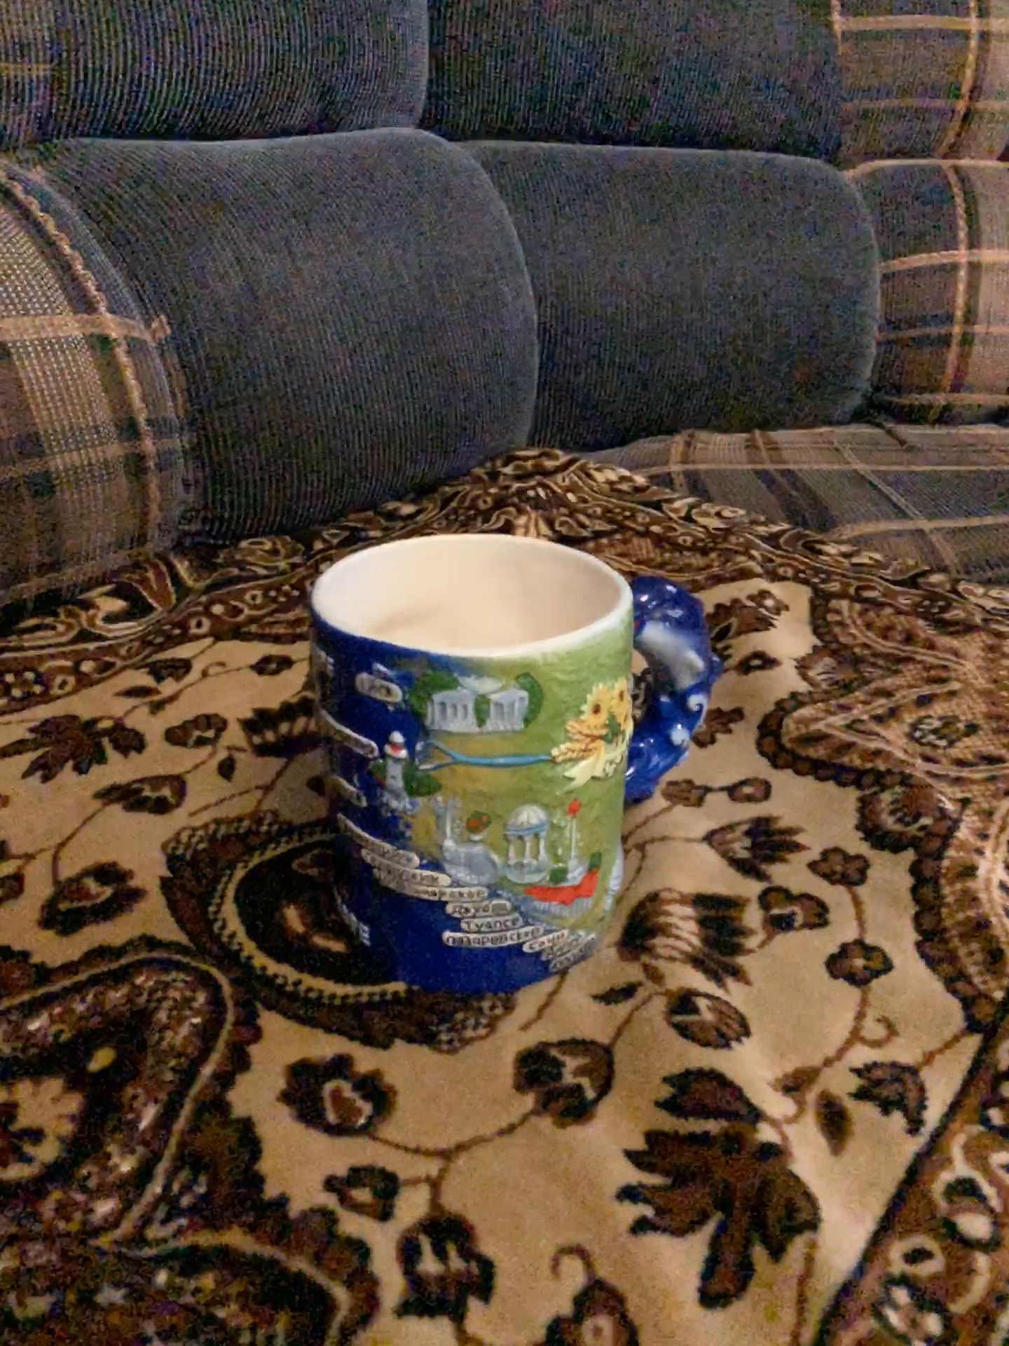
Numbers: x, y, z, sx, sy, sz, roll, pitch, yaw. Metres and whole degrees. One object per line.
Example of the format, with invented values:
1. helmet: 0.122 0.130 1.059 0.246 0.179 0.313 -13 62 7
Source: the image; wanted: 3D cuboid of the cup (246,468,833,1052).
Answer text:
1. cup: 0.008 0.013 0.298 0.128 0.105 0.090 -17 32 -30
